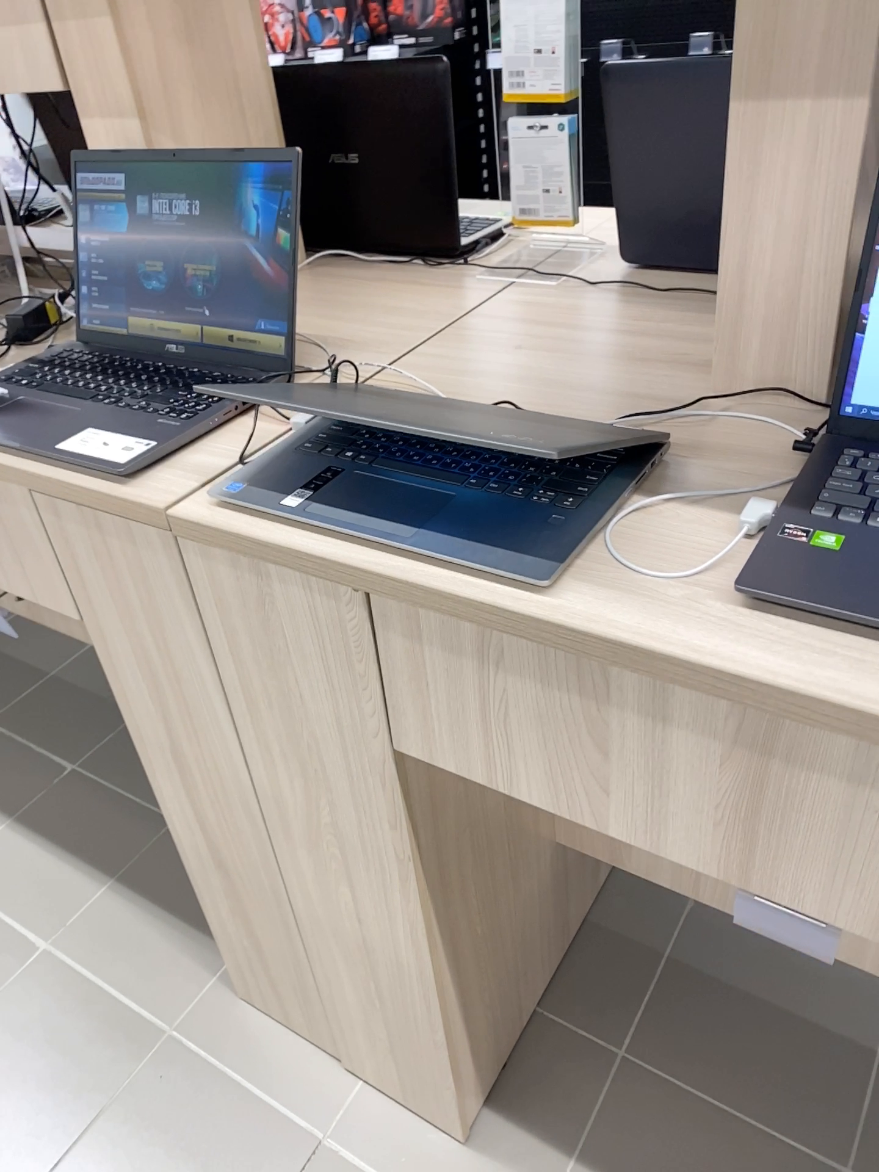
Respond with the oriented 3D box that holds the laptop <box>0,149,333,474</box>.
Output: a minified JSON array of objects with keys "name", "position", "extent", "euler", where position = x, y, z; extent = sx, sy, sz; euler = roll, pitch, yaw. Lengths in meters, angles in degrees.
[{"name":"laptop","position":[-0.362,-0.310,0.938],"extent":[0.353,0.212,0.308],"euler":[16,40,30]}]

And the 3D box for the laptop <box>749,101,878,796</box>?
[{"name":"laptop","position":[0.425,-0.127,0.522],"extent":[0.390,0.215,0.304],"euler":[14,40,28]}]

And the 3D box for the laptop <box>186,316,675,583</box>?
[{"name":"laptop","position":[-0.006,-0.132,0.735],"extent":[0.326,0.082,0.218],"euler":[16,41,30]}]
